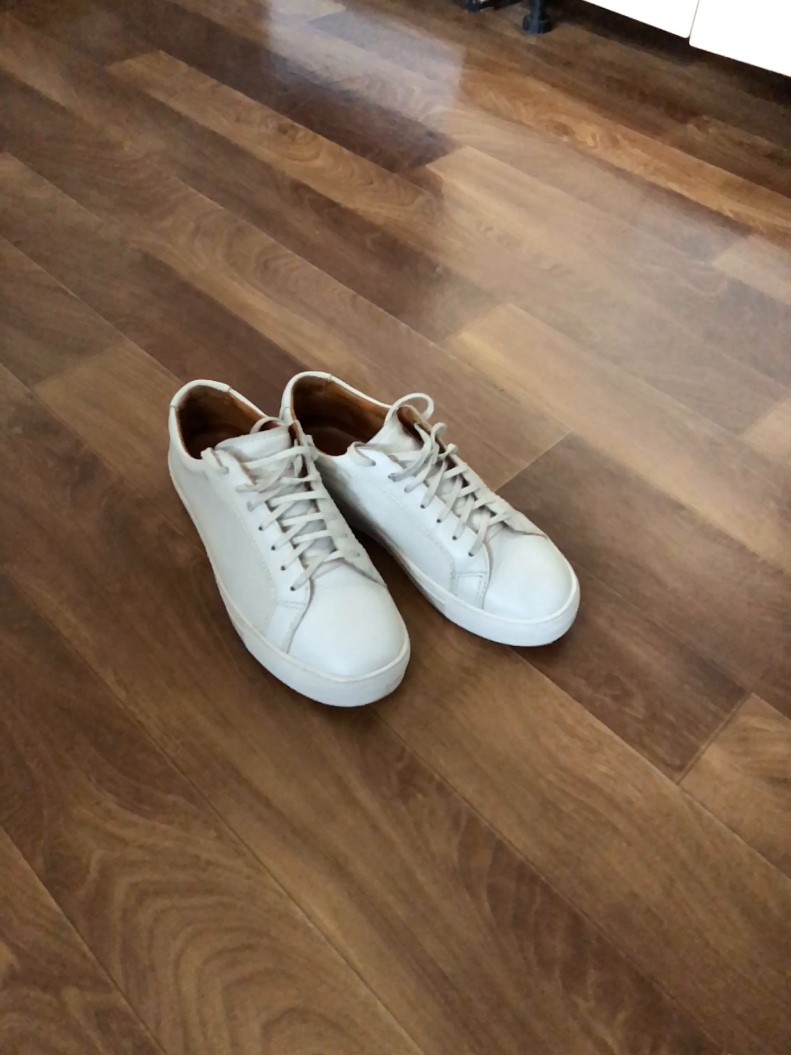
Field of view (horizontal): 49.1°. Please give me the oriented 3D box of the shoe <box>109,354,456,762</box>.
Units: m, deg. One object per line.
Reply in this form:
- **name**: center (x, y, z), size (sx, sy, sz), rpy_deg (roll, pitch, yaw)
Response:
- **shoe**: center (-0.088, 0.007, 0.615), size (0.110, 0.089, 0.281), rpy_deg (-26, 55, -22)

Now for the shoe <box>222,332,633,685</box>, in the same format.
- **shoe**: center (0.014, -0.024, 0.639), size (0.281, 0.089, 0.110), rpy_deg (33, 56, 23)
